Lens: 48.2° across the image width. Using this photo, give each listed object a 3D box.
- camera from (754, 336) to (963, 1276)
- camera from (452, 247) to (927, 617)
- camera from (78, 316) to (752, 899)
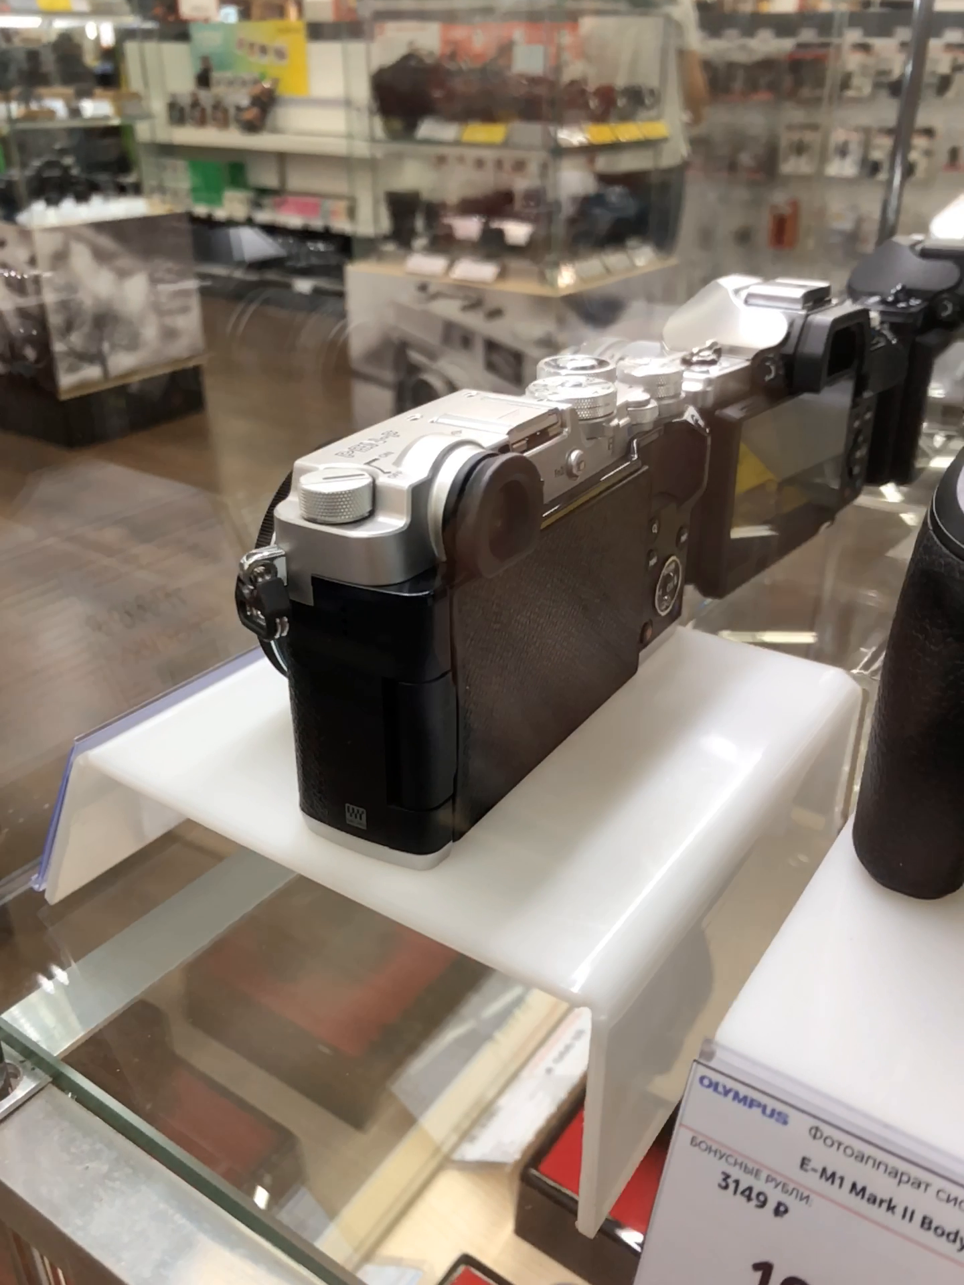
[{"bbox_3d":[0.123,0.006,0.167,0.127,0.075,0.084,18,32,30],"label":"camera"},{"bbox_3d":[0.068,-0.078,0.349,0.099,0.075,0.128,19,33,31],"label":"camera"},{"bbox_3d":[-0.005,-0.021,0.236,0.076,0.070,0.128,17,32,29],"label":"camera"}]
